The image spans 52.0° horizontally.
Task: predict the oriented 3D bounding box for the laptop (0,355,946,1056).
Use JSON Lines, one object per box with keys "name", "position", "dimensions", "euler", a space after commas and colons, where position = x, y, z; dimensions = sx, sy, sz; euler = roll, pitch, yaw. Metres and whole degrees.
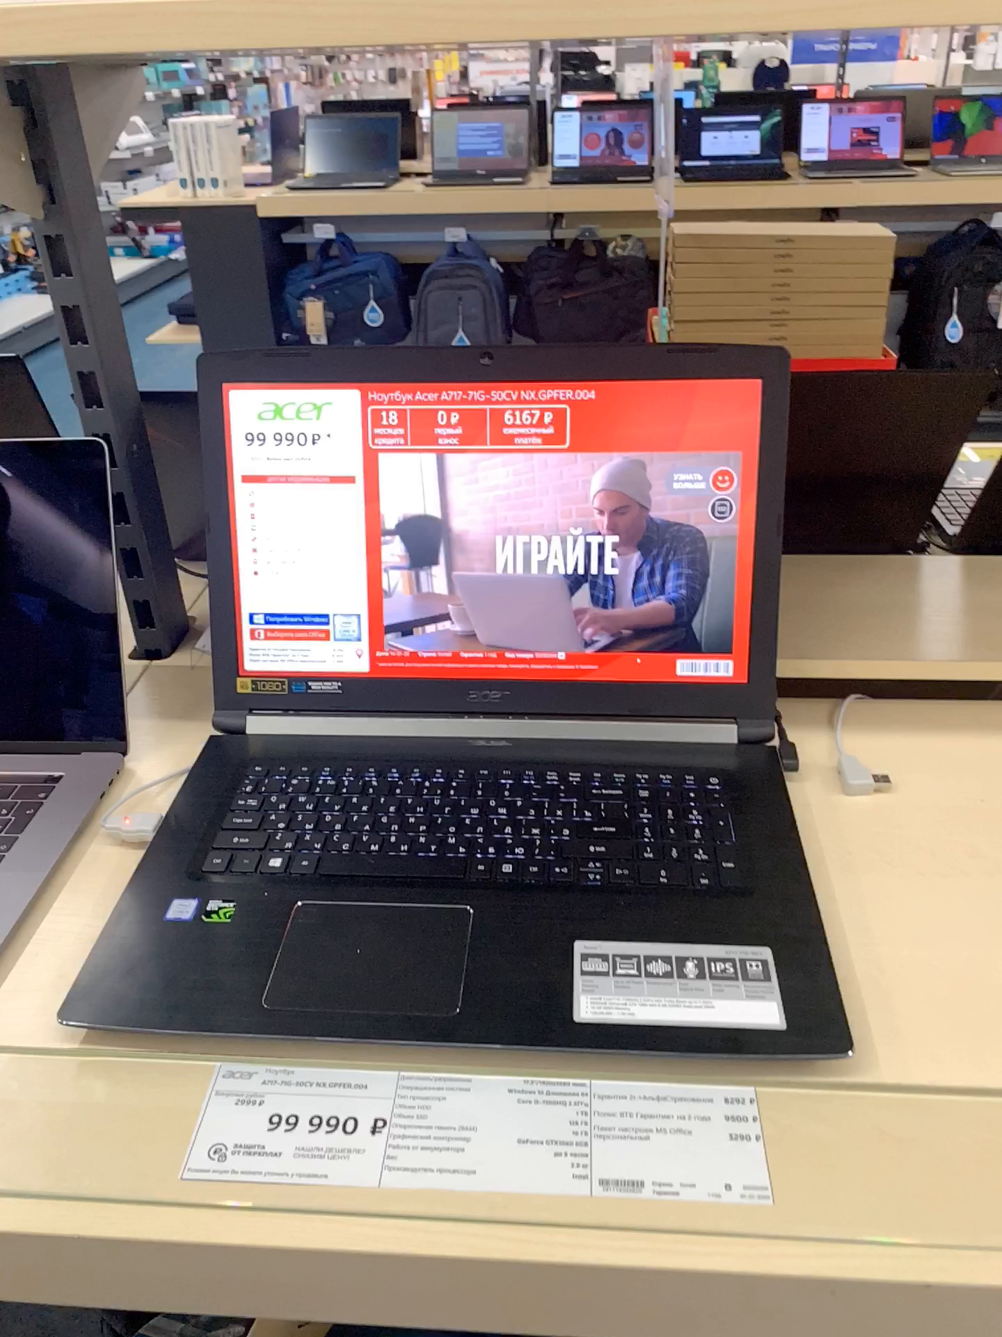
{"name": "laptop", "position": [-0.020, -0.014, 0.615], "dimensions": [0.406, 0.248, 0.364], "euler": [1, 31, 4]}
